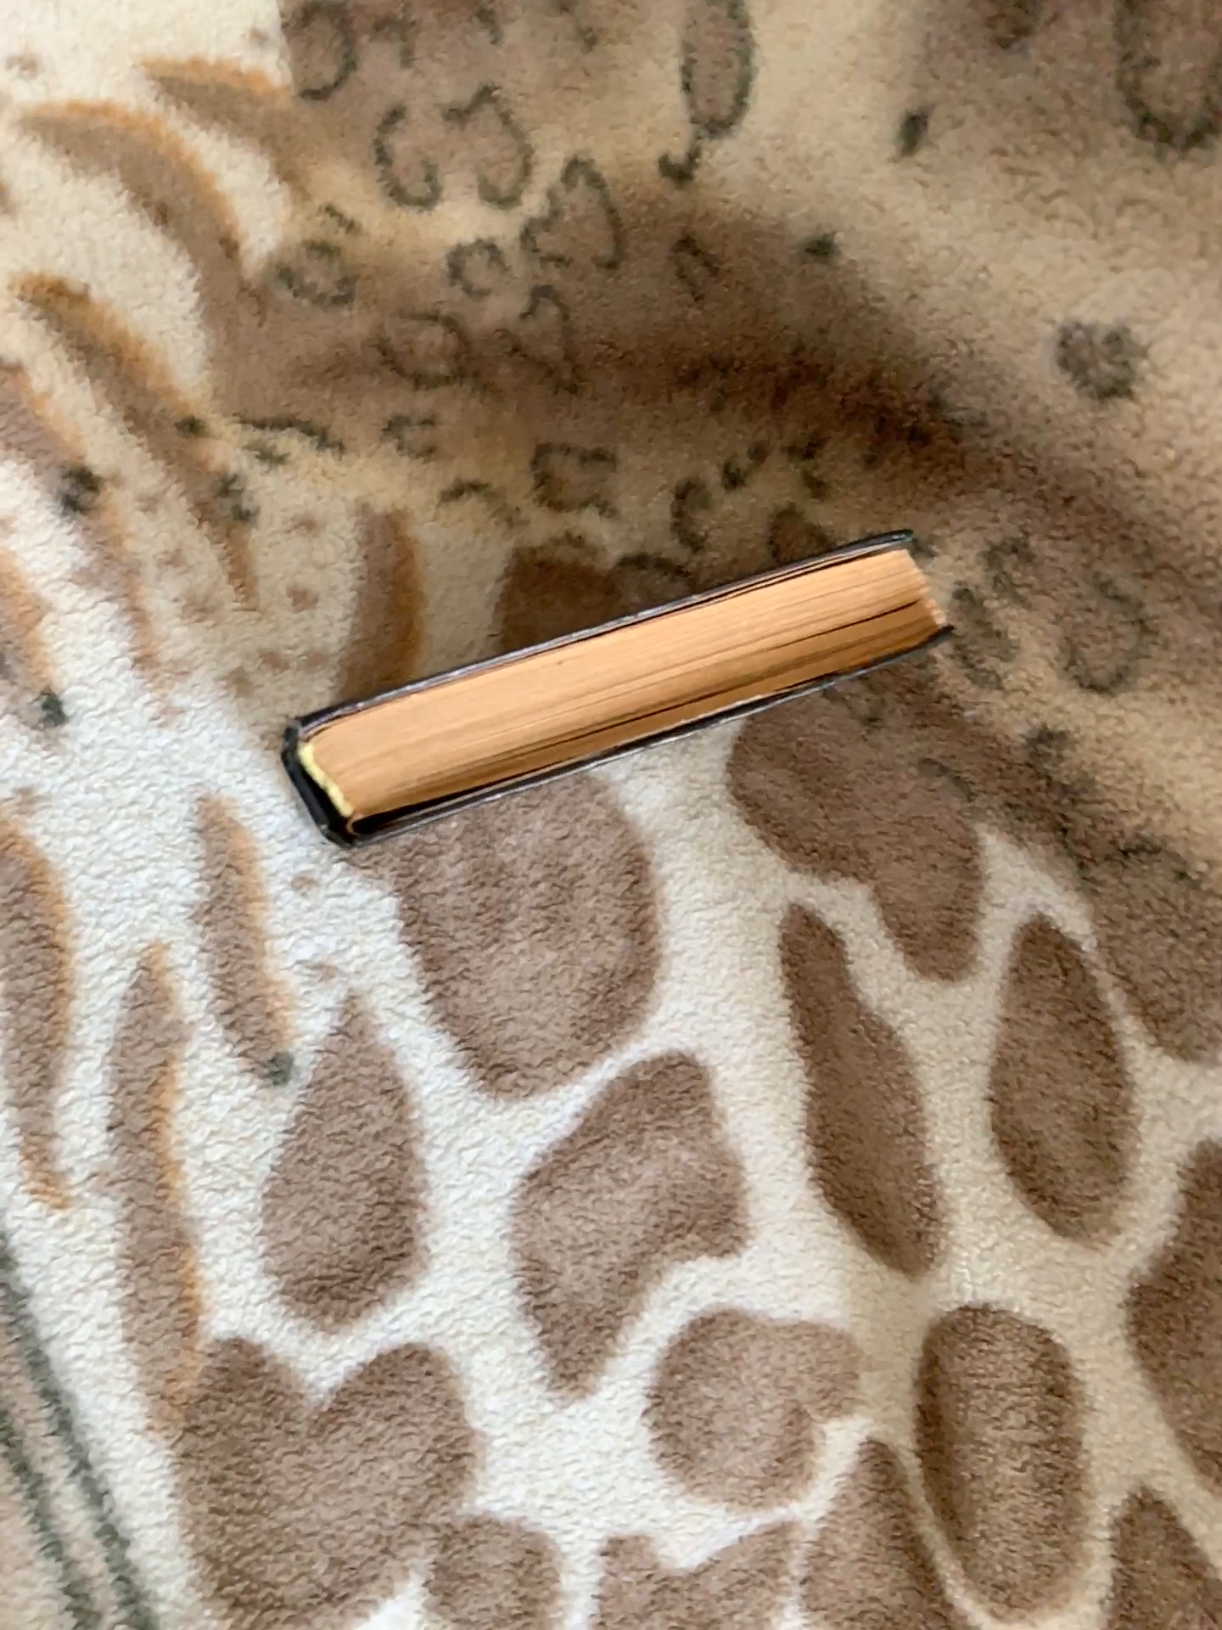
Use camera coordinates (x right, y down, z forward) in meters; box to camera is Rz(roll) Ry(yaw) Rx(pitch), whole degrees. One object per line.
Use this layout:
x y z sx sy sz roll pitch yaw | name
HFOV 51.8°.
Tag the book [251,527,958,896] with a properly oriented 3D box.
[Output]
-0.019 -0.023 0.329 0.130 0.200 0.030 -19 95 -12 | book
